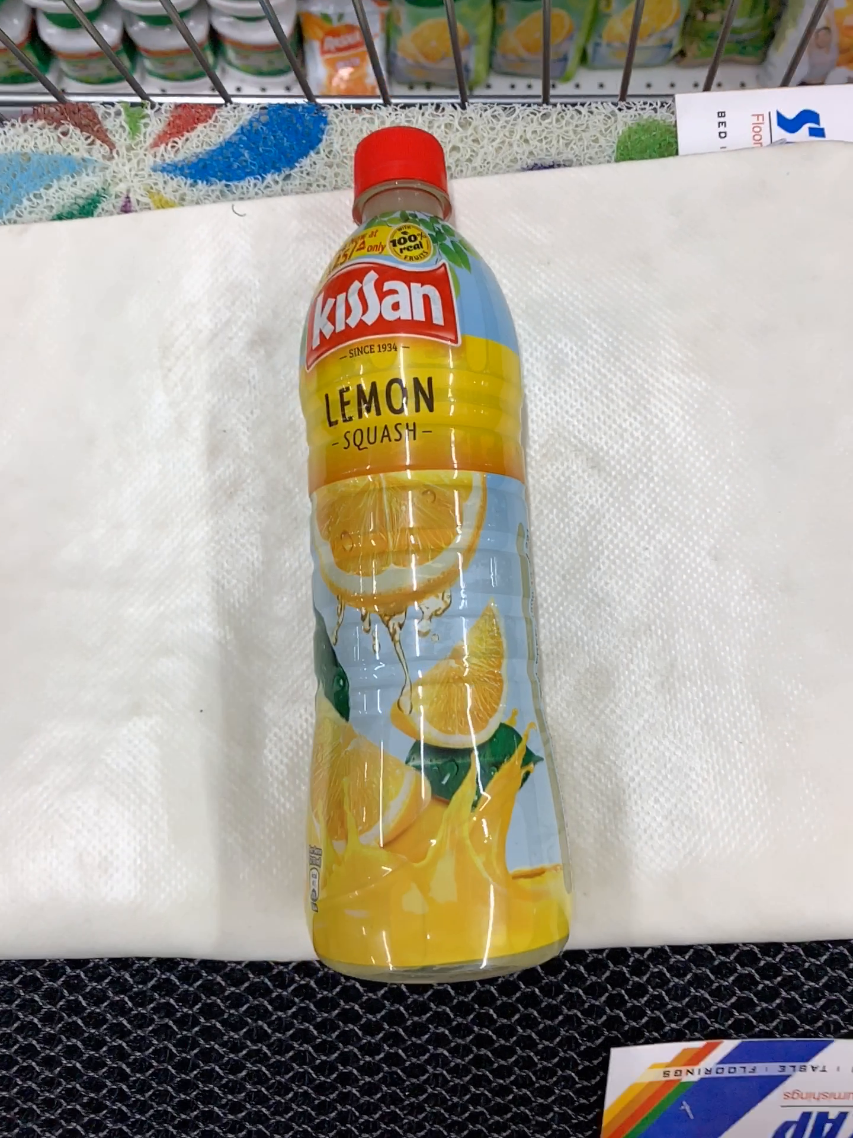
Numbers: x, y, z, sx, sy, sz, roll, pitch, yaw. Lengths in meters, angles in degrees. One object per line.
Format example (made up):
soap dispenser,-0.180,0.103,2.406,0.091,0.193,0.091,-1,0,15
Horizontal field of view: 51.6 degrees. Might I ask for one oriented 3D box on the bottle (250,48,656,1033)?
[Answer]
bottle,0.002,-0.011,0.243,0.080,0.070,0.230,-4,84,-3
